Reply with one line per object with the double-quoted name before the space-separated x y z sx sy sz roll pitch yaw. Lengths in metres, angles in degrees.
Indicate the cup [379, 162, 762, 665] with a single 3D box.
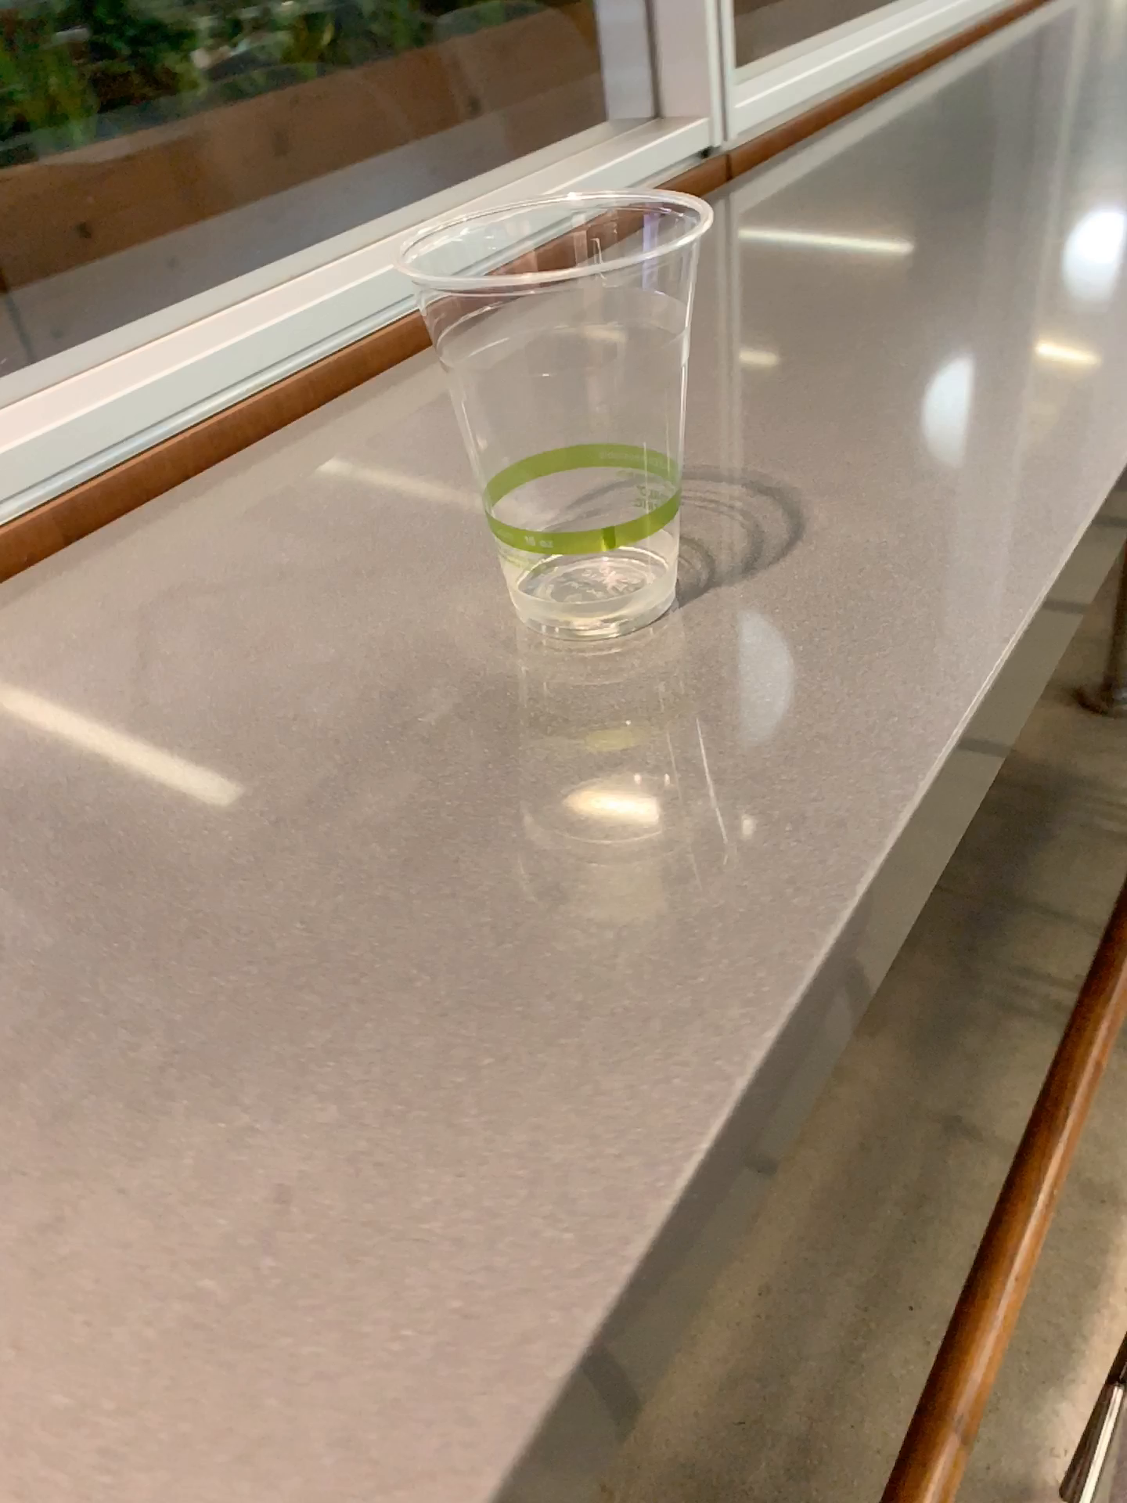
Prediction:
"cup" 0.005 -0.115 0.391 0.100 0.119 0.111 -7 36 3
